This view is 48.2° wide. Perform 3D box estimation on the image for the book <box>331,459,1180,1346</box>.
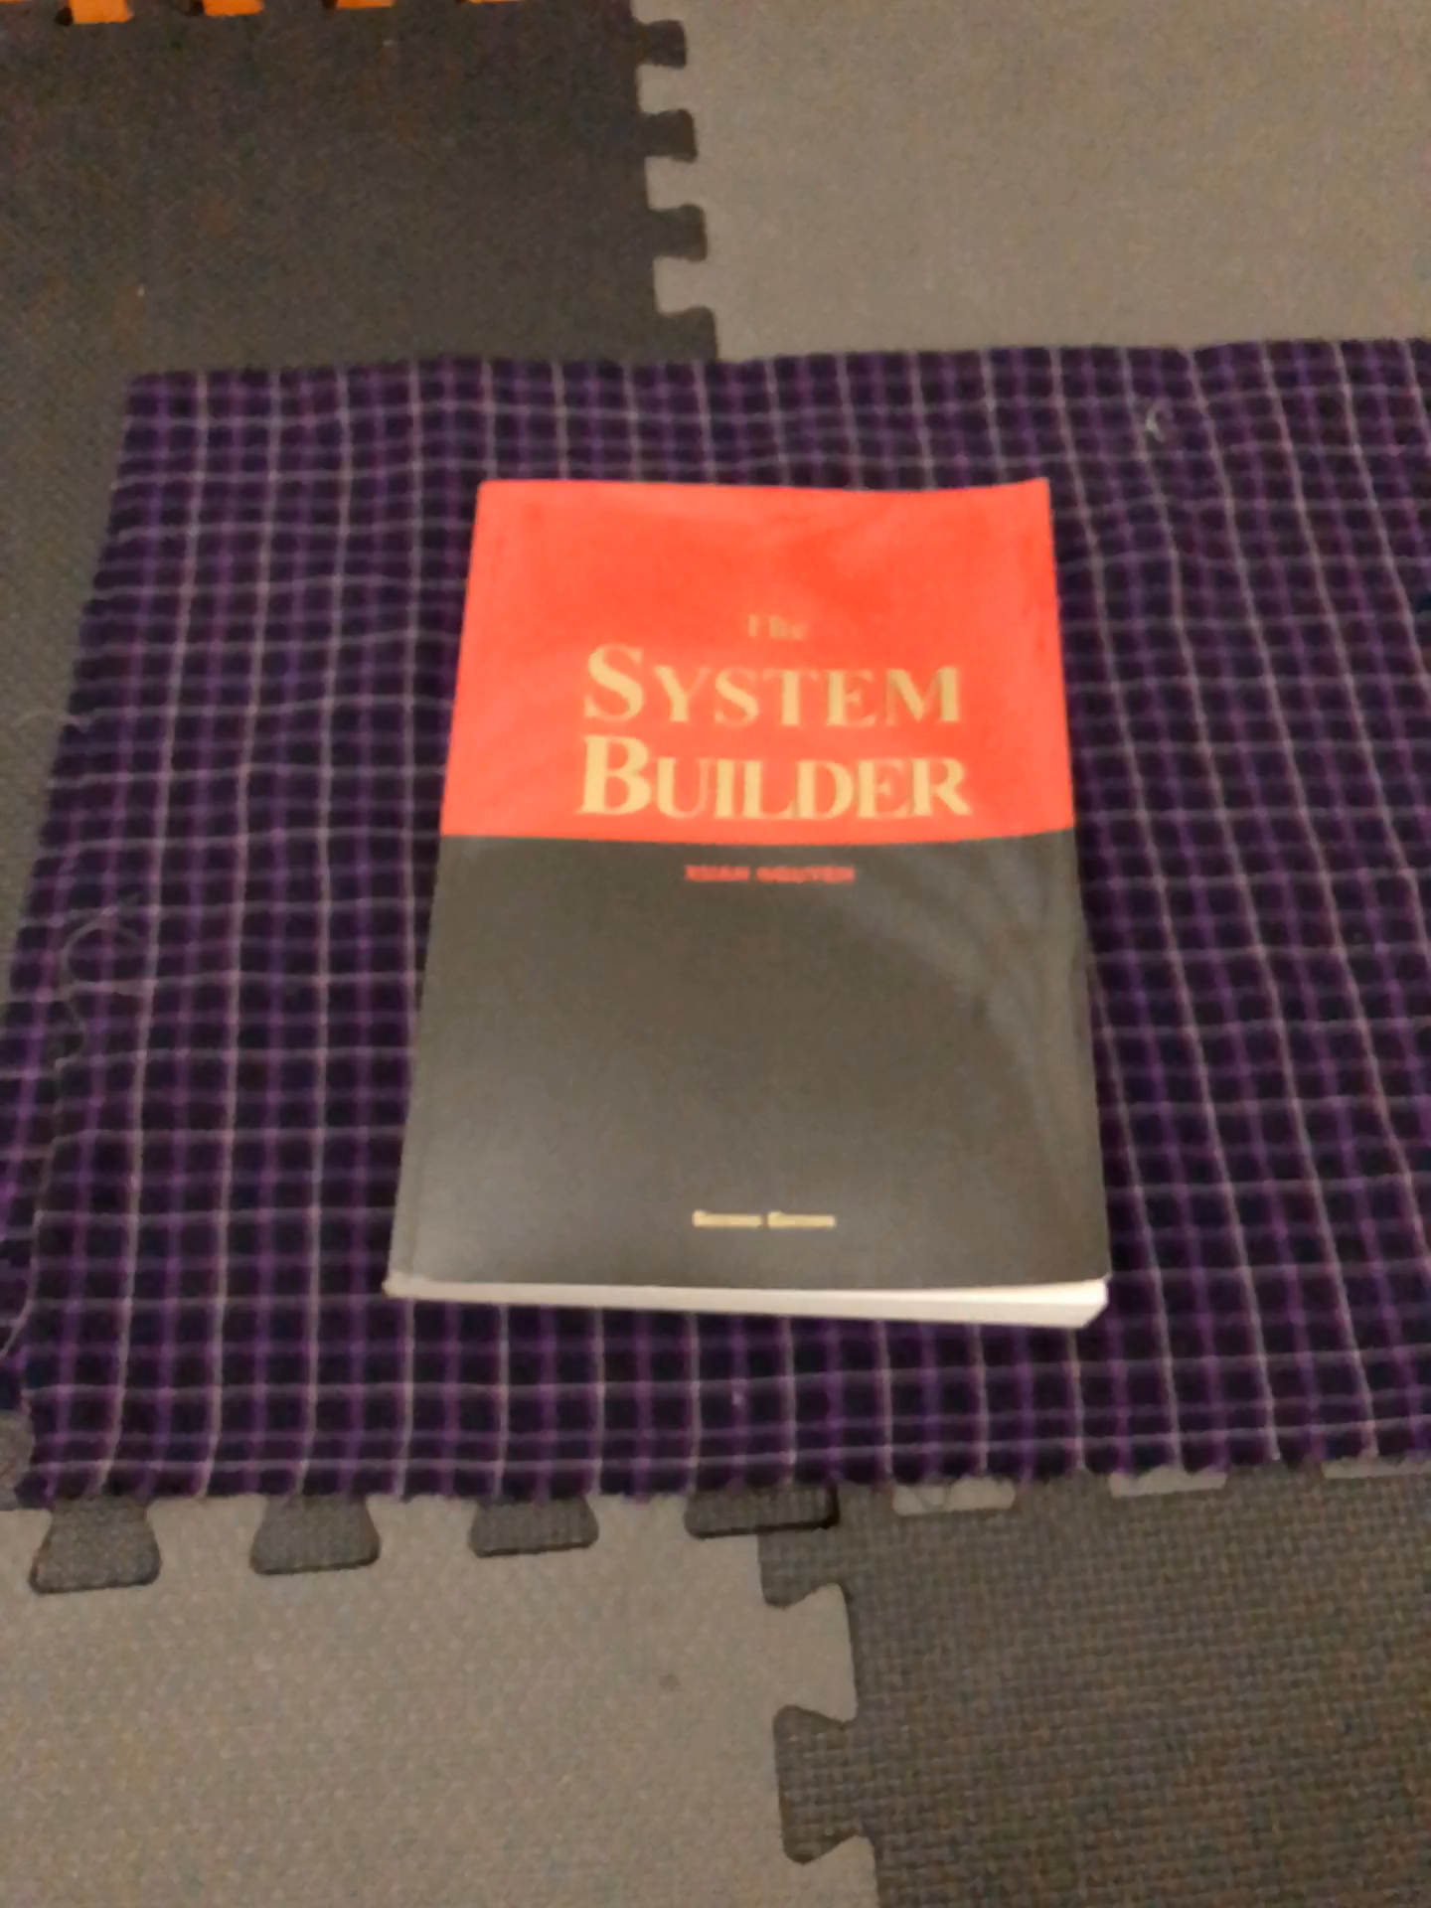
[{"bbox_3d":[0.013,-0.027,0.448,0.200,0.030,0.261,1,64,1],"label":"book"}]
